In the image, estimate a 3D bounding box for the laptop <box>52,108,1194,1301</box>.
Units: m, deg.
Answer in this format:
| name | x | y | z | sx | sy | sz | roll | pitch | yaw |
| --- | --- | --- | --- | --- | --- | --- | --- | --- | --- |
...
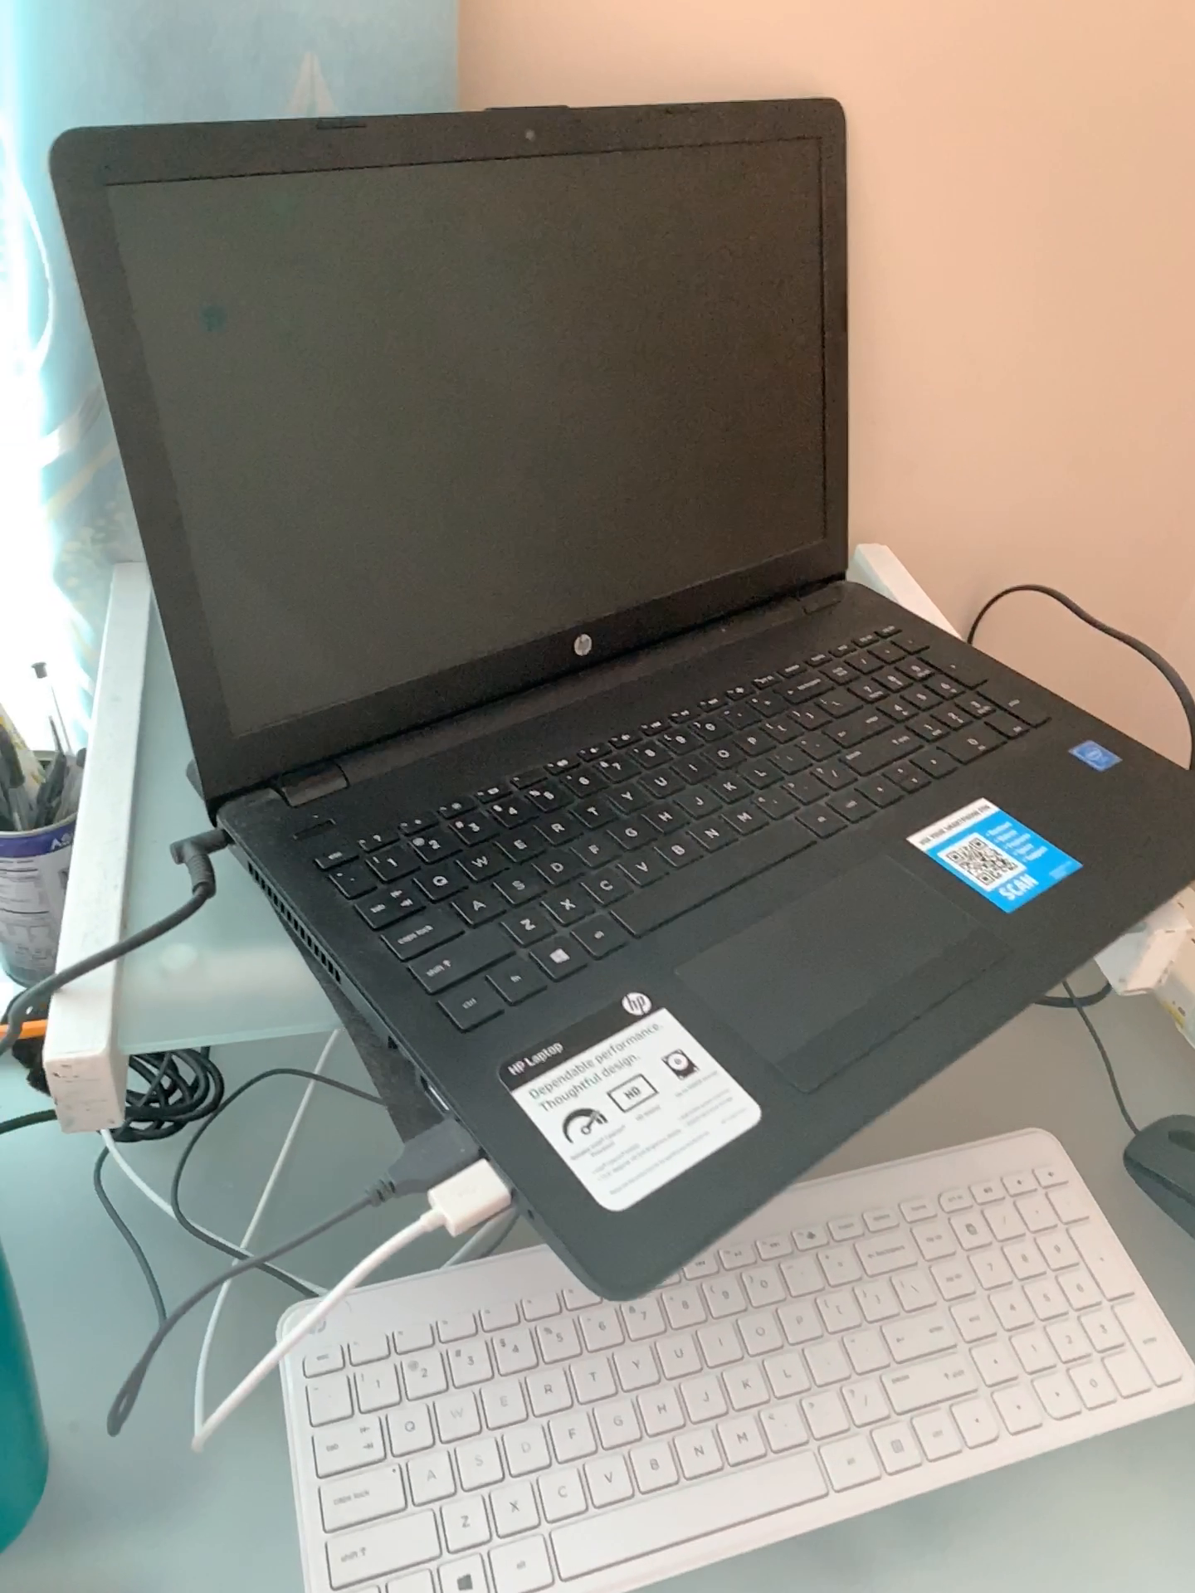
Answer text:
| name | x | y | z | sx | sy | sz | roll | pitch | yaw |
| --- | --- | --- | --- | --- | --- | --- | --- | --- | --- |
| laptop | 0.059 | -0.093 | 0.451 | 0.364 | 0.222 | 0.308 | -23 | 46 | -33 |
